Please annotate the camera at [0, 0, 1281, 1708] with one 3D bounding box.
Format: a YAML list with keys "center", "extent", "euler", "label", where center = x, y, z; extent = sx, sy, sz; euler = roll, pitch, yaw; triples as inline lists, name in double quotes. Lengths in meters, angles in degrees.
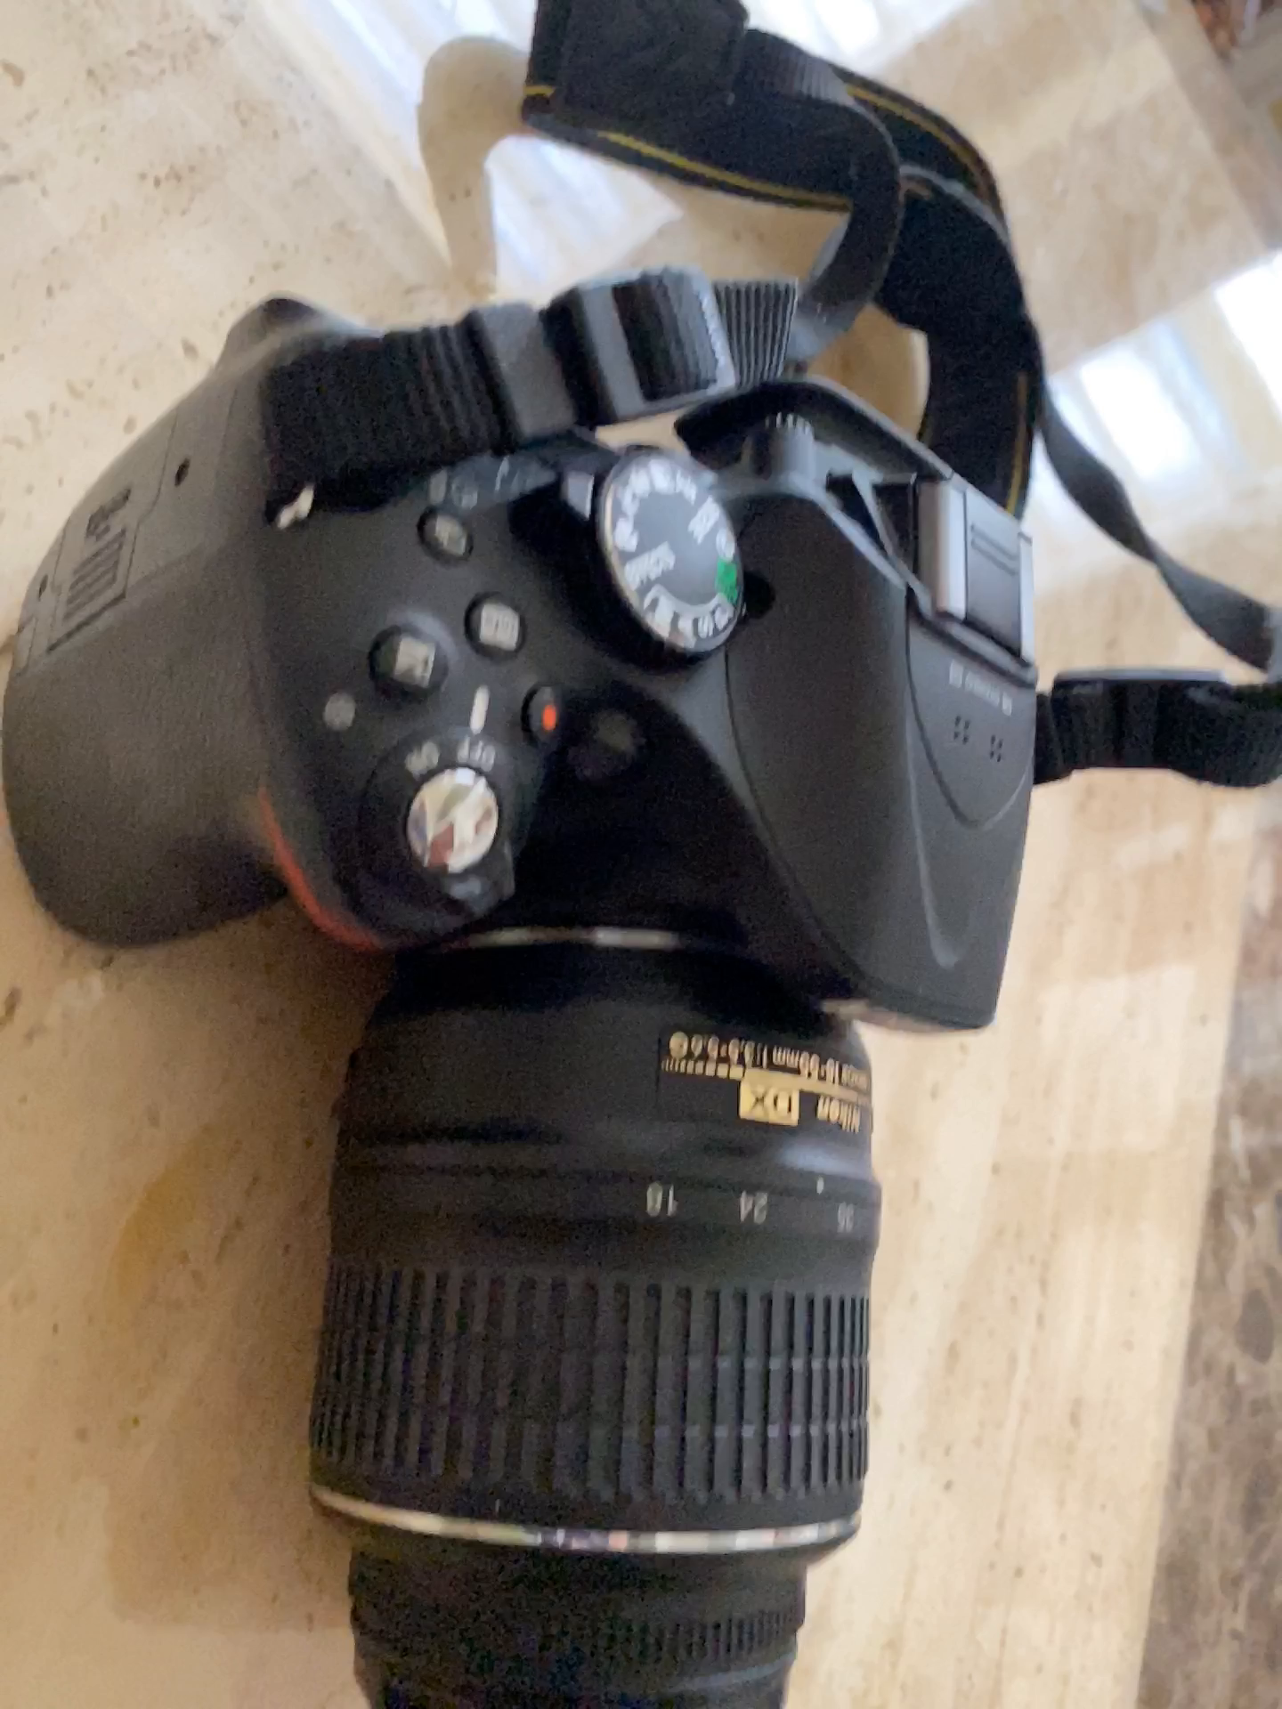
- center: [0.004, 0.024, 0.174]
  extent: [0.152, 0.099, 0.159]
  euler: [19, 64, -41]
  label: "camera"
